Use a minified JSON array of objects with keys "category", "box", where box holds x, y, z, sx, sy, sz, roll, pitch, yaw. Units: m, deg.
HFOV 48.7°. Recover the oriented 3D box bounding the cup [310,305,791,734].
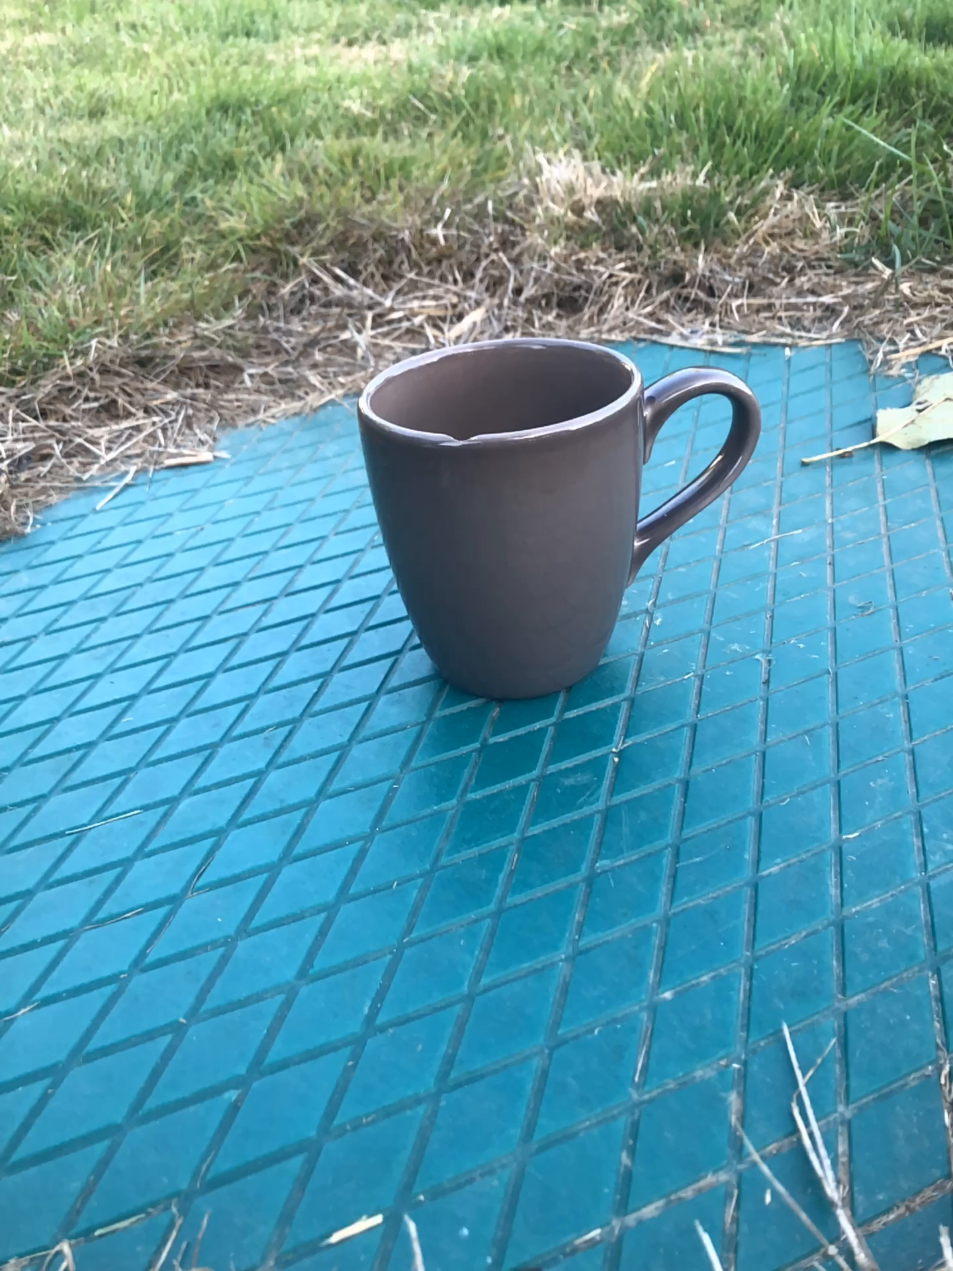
[{"category":"cup","box":[0.021,-0.043,0.345,0.126,0.086,0.091,-13,33,-8]}]
